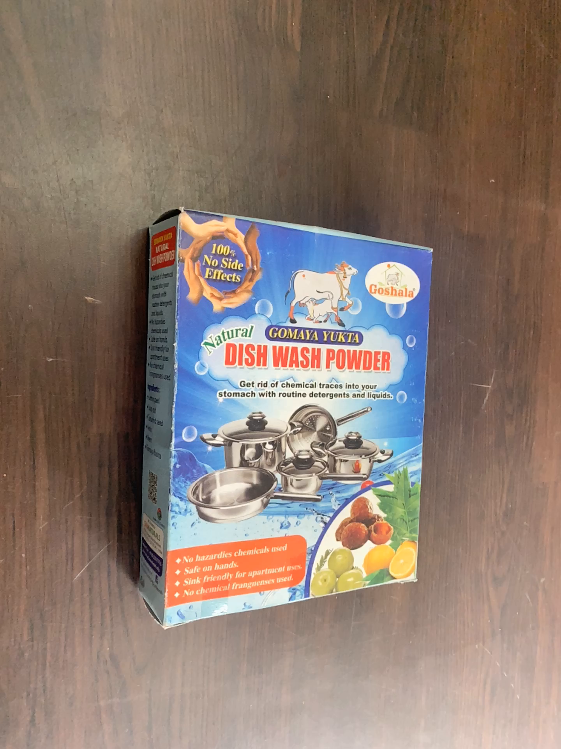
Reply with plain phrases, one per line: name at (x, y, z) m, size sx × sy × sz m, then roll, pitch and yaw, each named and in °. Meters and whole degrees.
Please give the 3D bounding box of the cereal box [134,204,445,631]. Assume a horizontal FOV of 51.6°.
cereal box at (0.006, 0.018, 0.290) m, size 0.140 × 0.060 × 0.170 m, roll 1°, pitch 91°, yaw -27°
